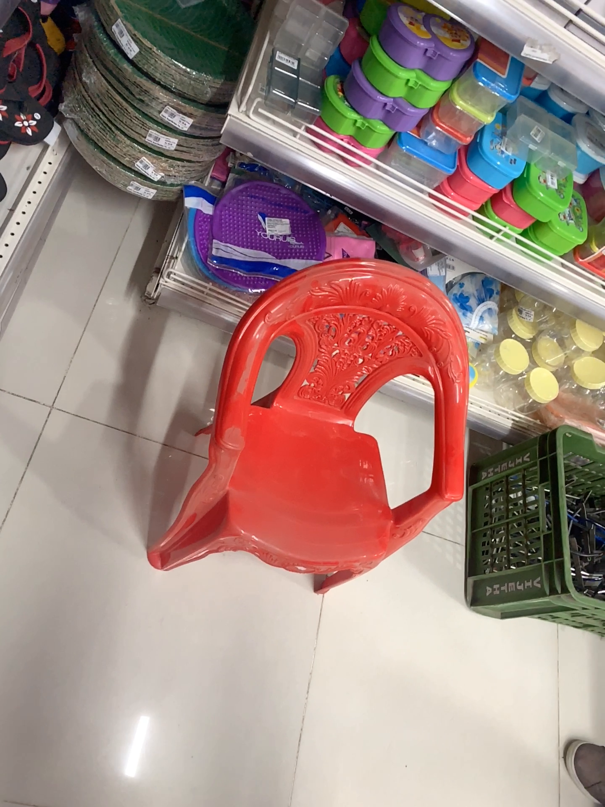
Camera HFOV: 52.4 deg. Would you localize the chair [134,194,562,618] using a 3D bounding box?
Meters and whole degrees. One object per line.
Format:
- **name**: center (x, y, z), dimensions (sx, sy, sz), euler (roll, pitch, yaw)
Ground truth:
- **chair**: center (0.035, 0.069, 0.947), dimensions (0.411, 0.499, 0.410), euler (16, 63, -19)
